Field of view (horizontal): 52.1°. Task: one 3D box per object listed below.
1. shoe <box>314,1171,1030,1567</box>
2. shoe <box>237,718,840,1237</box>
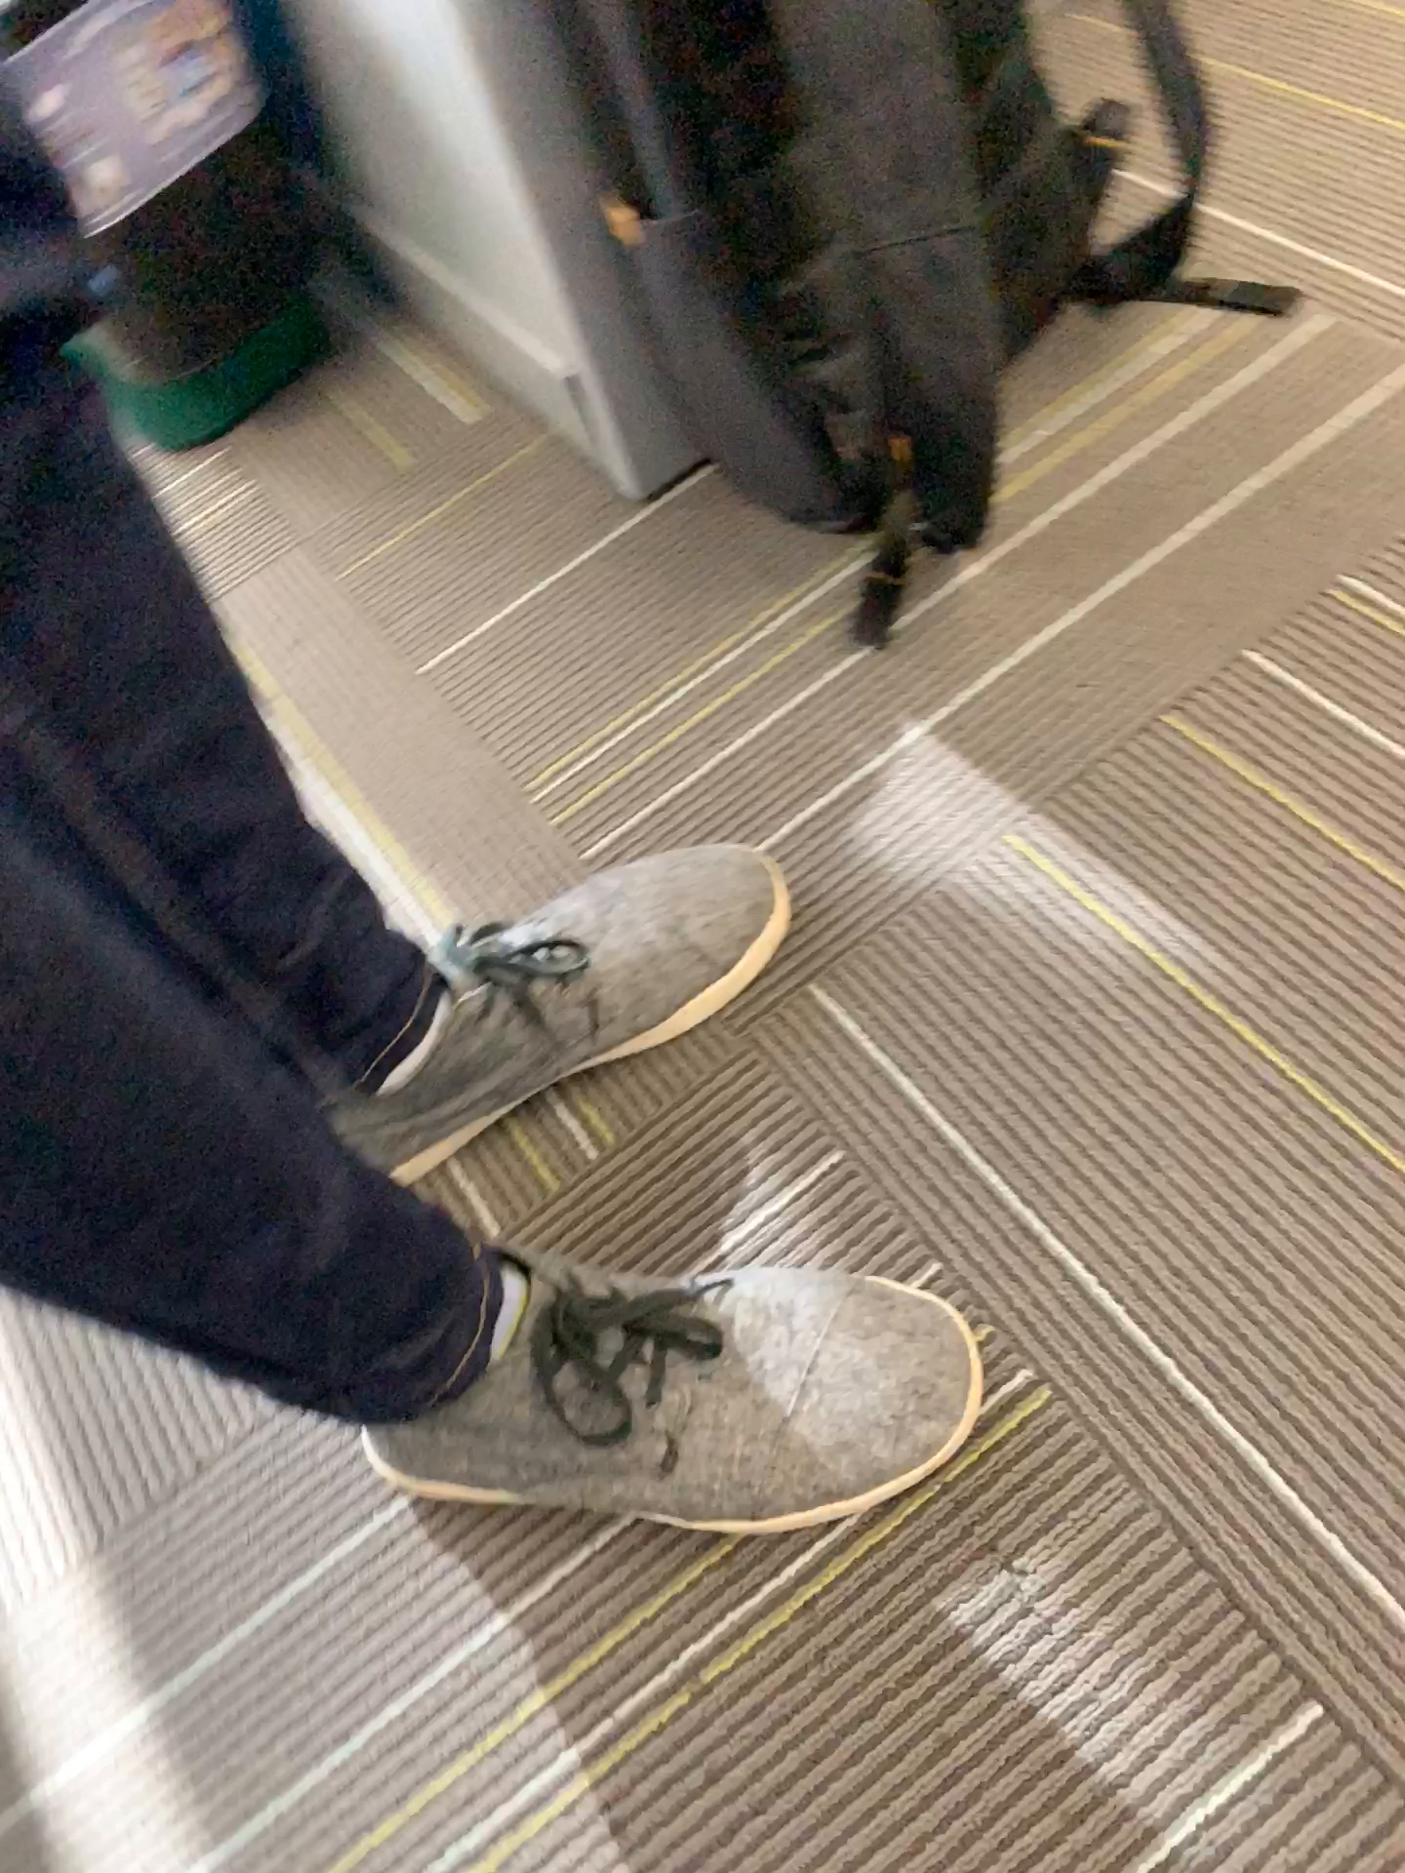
[{"bbox_3d":[-0.013,0.204,0.662,0.299,0.087,0.134,-9,55,14],"label":"shoe"},{"bbox_3d":[-0.092,0.020,0.811,0.301,0.087,0.134,-31,53,-3],"label":"shoe"}]
